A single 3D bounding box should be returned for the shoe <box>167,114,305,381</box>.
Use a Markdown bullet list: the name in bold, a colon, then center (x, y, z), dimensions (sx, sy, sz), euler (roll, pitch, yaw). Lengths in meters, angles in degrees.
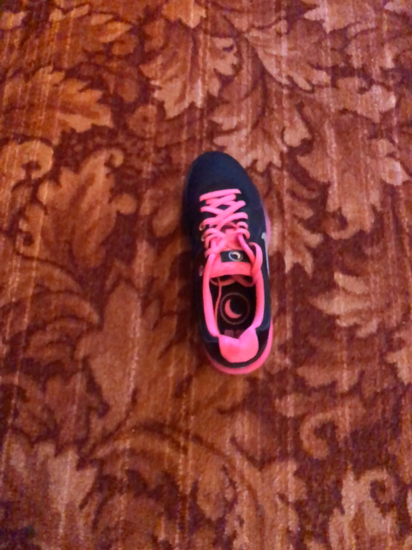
- **shoe**: center (0.025, -0.025, 0.479), dimensions (0.110, 0.100, 0.250), euler (-4, 73, 2)
